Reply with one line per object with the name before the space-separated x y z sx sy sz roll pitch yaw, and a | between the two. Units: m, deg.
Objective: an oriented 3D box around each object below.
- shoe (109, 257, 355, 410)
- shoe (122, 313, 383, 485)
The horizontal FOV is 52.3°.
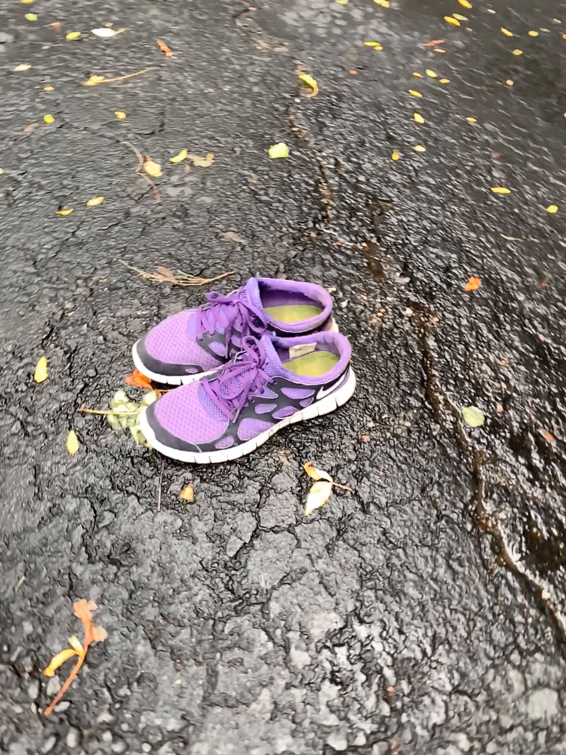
shoe | -0.067 -0.061 0.785 0.300 0.090 0.110 -14 61 -9
shoe | -0.037 0.028 0.745 0.300 0.100 0.110 -16 62 -6
